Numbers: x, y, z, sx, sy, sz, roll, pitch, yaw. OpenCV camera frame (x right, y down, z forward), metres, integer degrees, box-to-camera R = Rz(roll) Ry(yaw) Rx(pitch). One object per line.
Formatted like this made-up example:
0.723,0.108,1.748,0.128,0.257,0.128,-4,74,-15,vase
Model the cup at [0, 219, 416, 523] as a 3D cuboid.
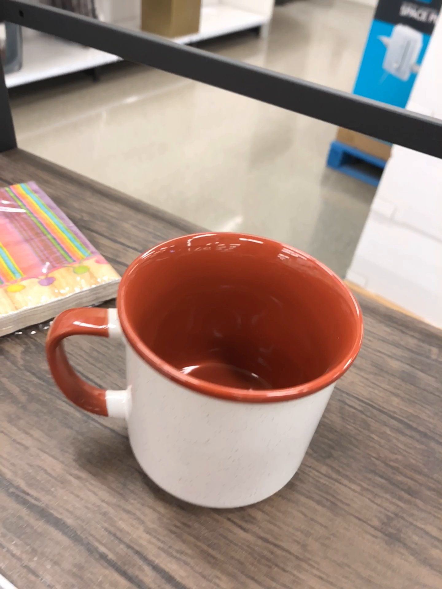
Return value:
-0.011,0.035,0.245,0.150,0.090,0.110,2,40,-7,cup
